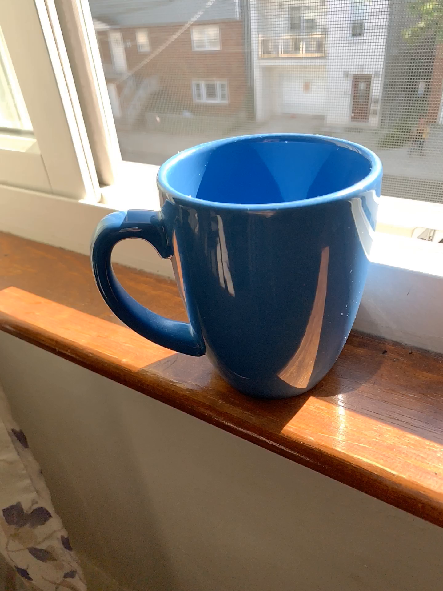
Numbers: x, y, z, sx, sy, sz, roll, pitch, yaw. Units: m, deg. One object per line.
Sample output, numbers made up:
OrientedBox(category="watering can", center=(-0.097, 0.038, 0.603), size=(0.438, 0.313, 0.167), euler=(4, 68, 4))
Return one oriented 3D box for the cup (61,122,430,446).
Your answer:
OrientedBox(category="cup", center=(0.007, -0.009, 0.200), size=(0.113, 0.095, 0.082), euler=(-8, 35, -4))
